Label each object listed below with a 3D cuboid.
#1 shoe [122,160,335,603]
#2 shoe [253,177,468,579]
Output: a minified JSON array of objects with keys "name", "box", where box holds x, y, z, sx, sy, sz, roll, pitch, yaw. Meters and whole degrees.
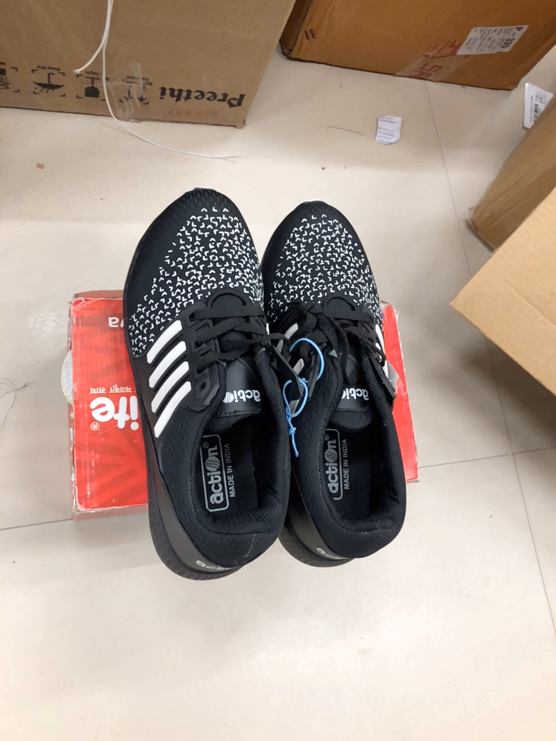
[{"name":"shoe","box":[-0.045,0.008,0.423,0.111,0.102,0.267,1,75,-19]},{"name":"shoe","box":[0.050,0.008,0.457,0.101,0.102,0.267,2,74,-18]}]
